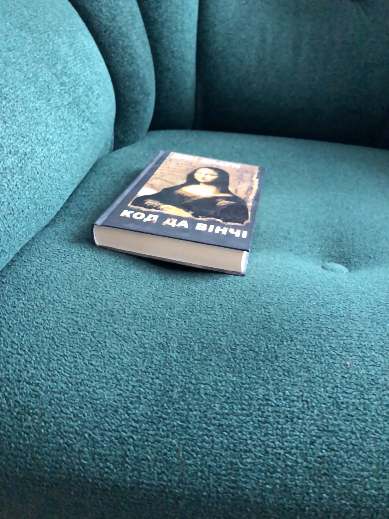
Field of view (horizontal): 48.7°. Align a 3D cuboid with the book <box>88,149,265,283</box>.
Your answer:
[{"bbox_3d":[-0.003,-0.059,0.444,0.135,0.030,0.211,10,33,7],"label":"book"}]
